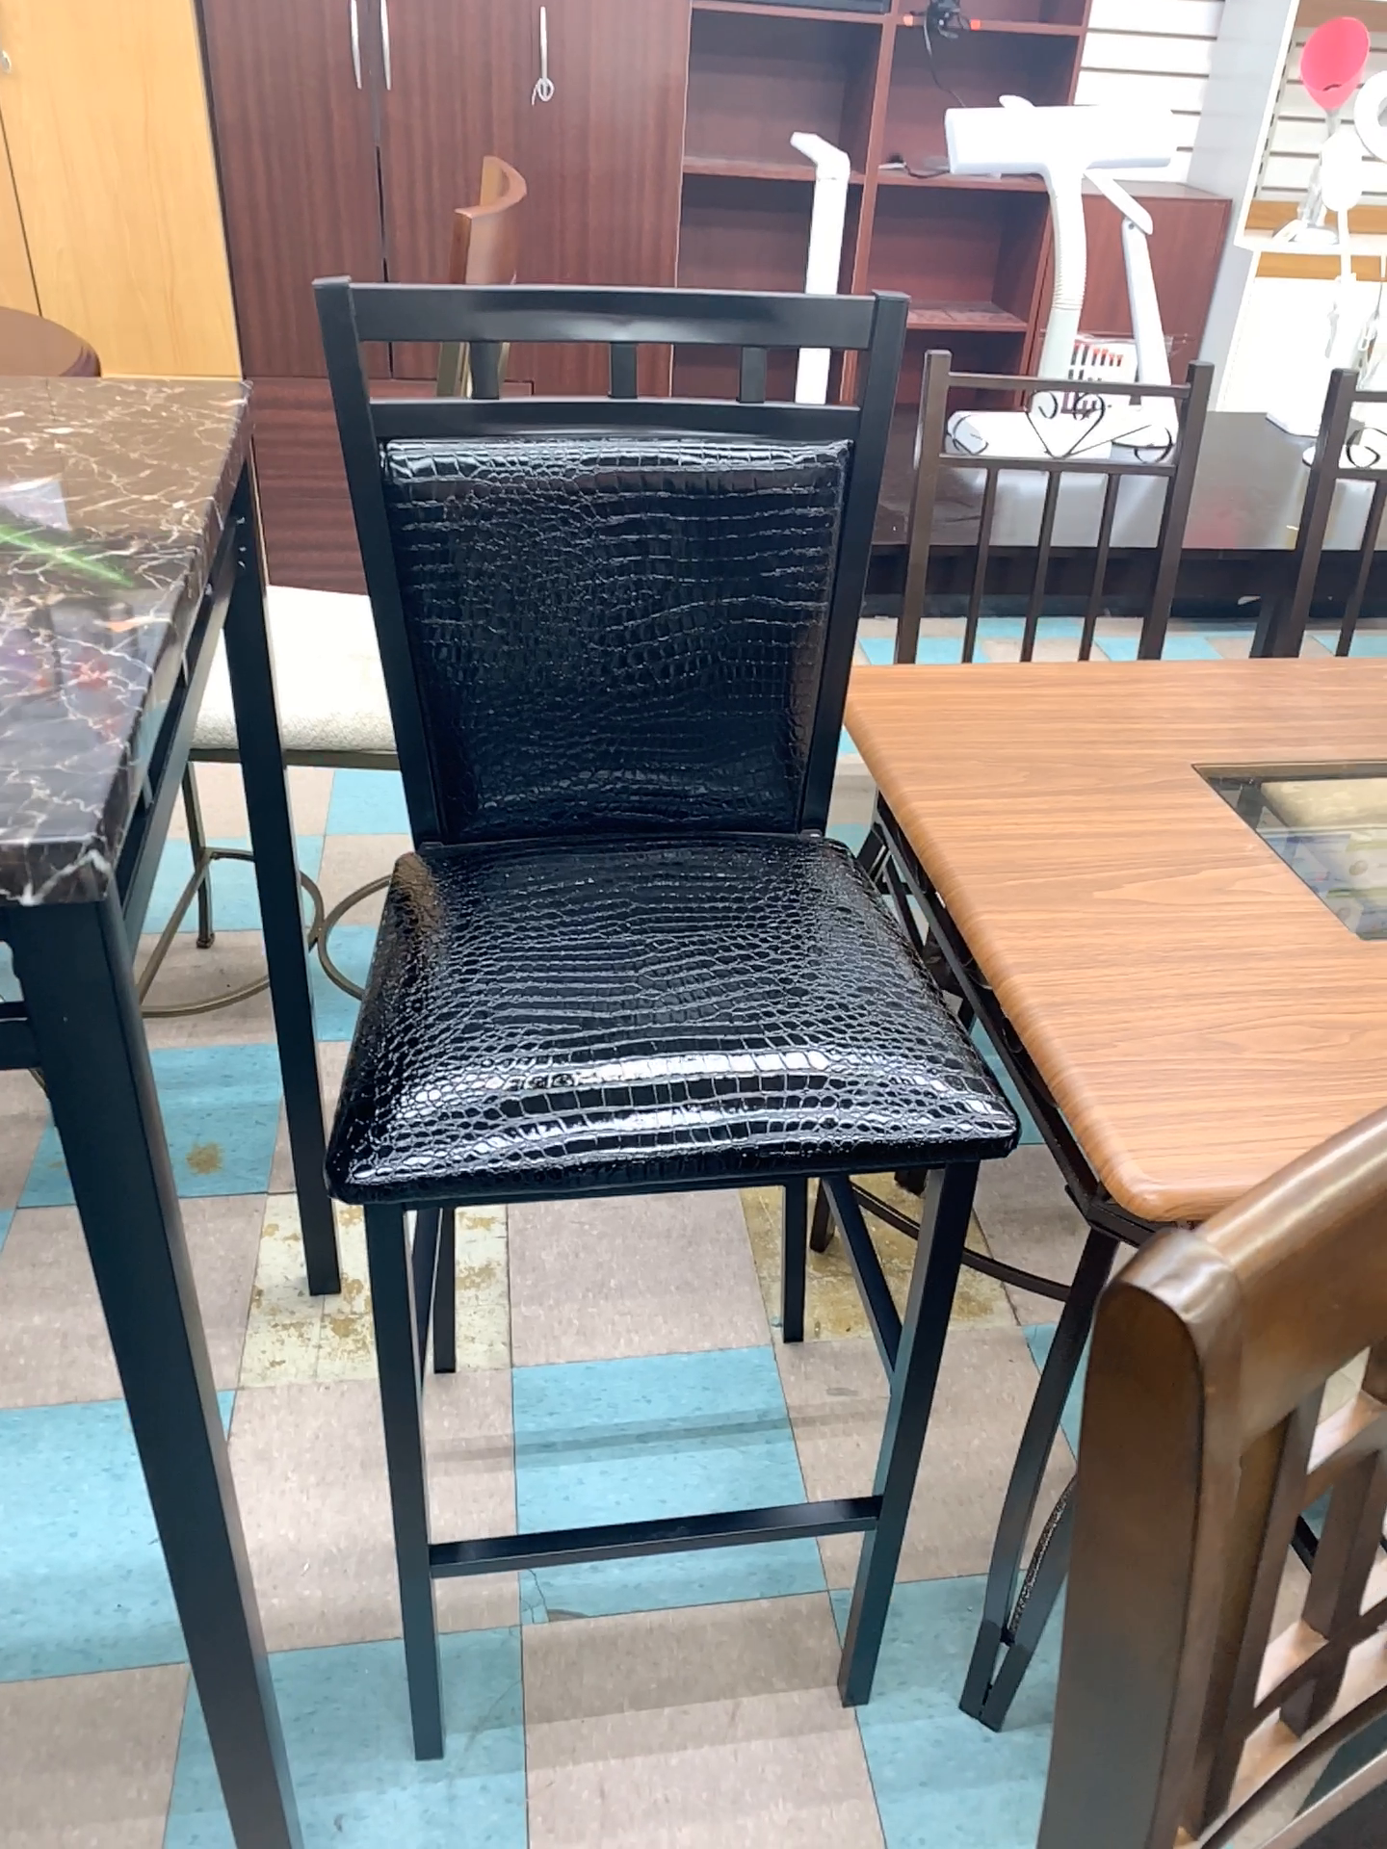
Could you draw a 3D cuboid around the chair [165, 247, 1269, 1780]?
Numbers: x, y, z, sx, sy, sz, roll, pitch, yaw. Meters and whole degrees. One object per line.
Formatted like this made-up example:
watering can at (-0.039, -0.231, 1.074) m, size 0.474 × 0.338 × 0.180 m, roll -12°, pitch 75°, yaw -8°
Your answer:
chair at (-0.029, 0.115, 1.013) m, size 0.444 × 1.025 × 0.419 m, roll -2°, pitch 34°, yaw -7°
